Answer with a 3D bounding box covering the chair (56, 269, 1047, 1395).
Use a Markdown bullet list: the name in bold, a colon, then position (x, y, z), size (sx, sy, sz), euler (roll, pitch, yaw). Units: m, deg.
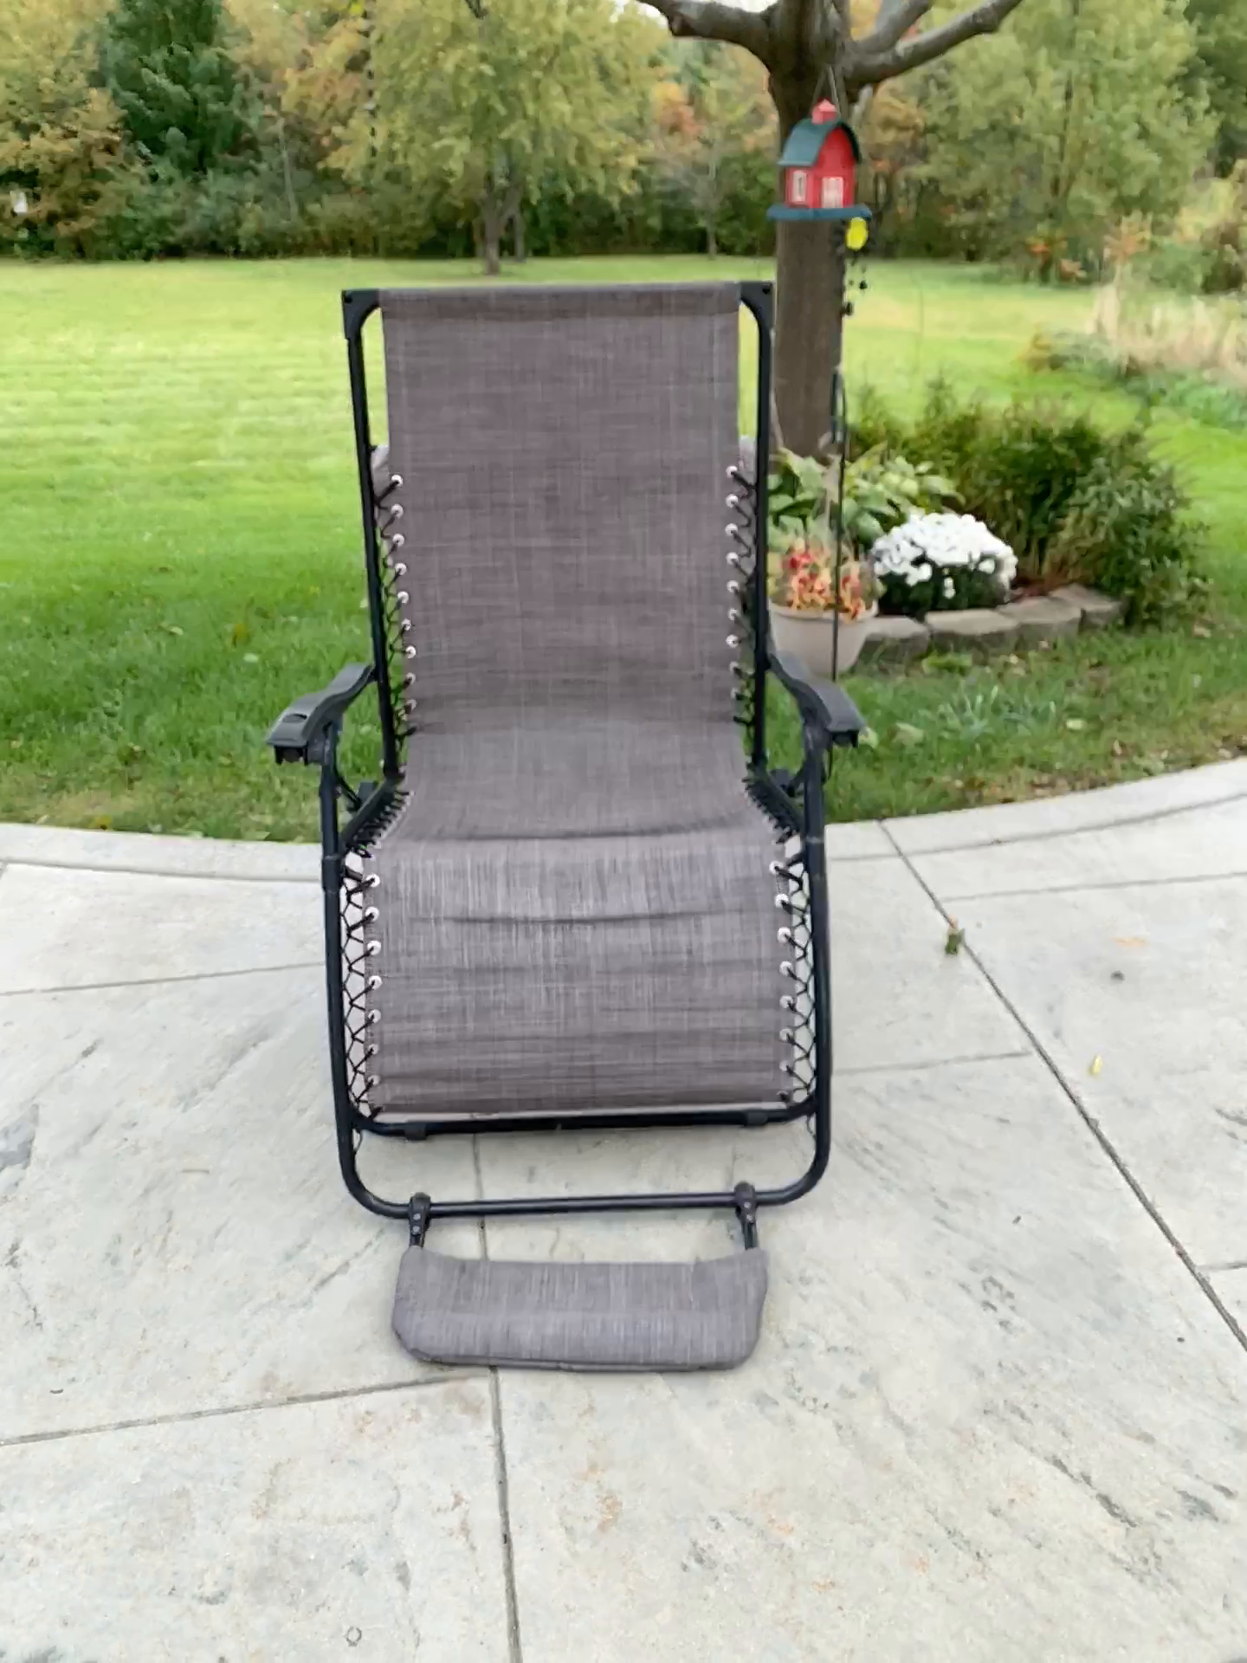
- **chair**: position (-0.065, -0.117, 1.715), size (0.741, 1.056, 1.154), euler (-1, 29, -2)
